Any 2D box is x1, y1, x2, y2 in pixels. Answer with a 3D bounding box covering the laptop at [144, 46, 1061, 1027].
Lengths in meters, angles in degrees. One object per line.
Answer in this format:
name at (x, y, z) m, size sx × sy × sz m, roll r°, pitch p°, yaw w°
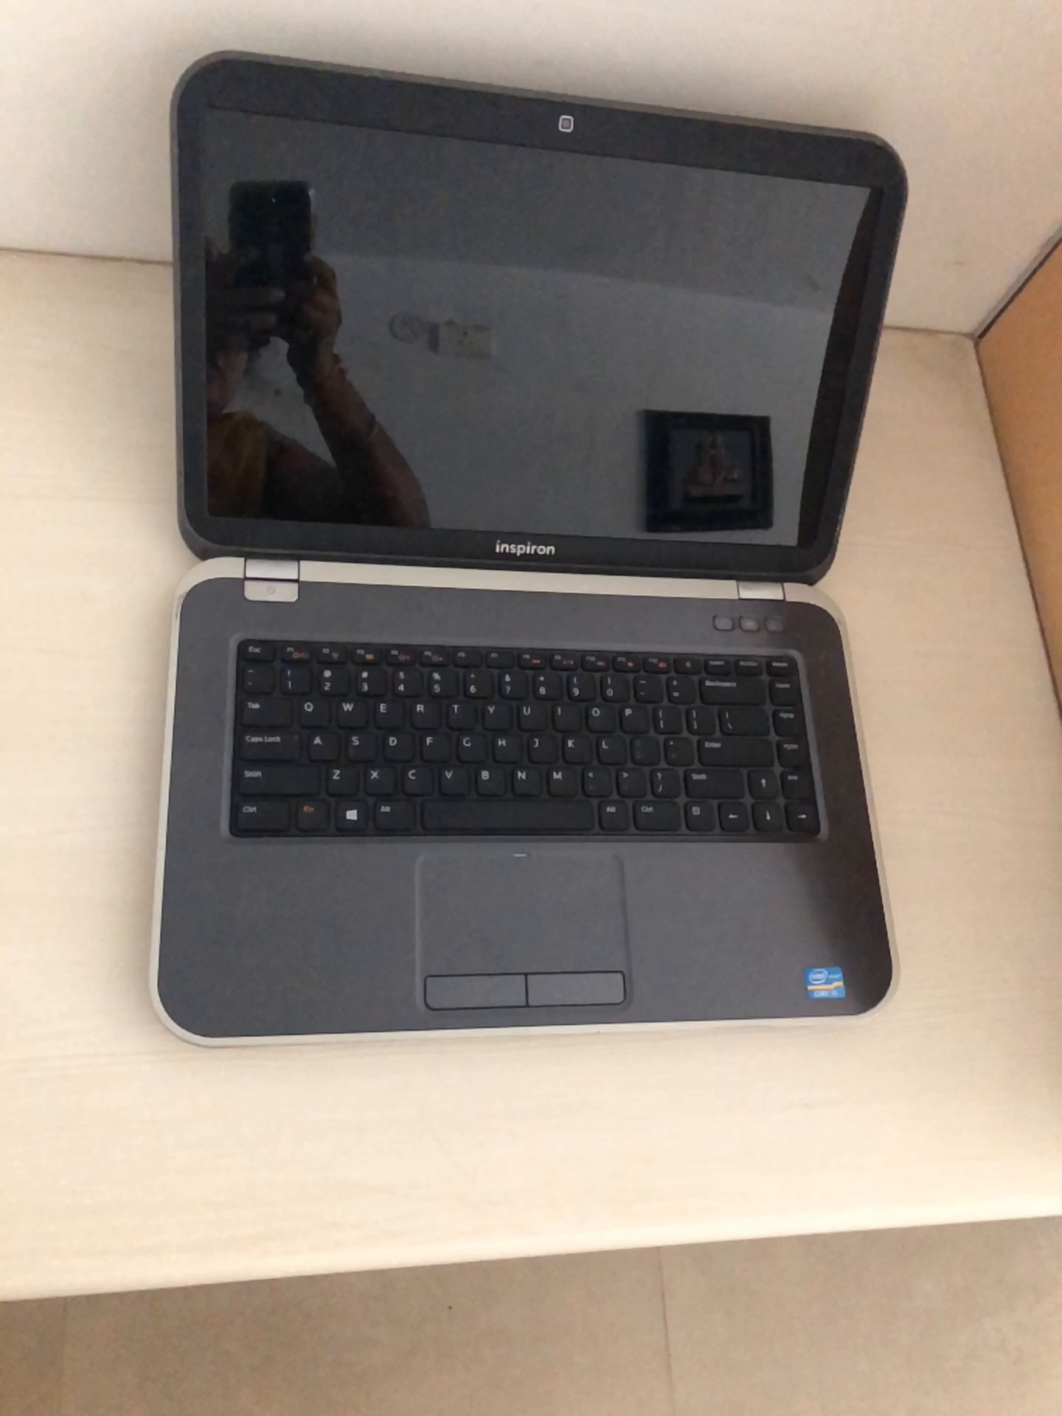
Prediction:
laptop at (0.015, -0.073, 0.556) m, size 0.339 × 0.152 × 0.409 m, roll 1°, pitch 70°, yaw -11°
